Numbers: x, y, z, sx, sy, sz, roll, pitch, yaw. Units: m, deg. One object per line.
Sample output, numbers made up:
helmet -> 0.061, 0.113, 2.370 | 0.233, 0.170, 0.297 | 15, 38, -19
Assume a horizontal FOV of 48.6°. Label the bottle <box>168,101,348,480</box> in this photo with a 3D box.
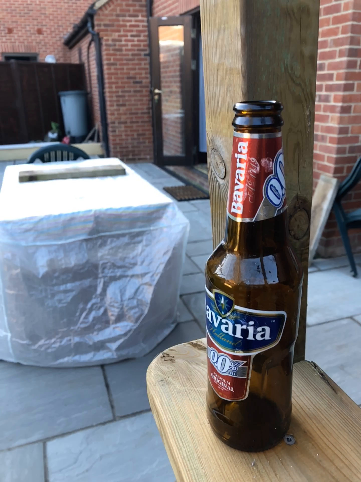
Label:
bottle -> 0.040, 0.027, 0.244 | 0.060, 0.209, 0.070 | -17, 26, -37
